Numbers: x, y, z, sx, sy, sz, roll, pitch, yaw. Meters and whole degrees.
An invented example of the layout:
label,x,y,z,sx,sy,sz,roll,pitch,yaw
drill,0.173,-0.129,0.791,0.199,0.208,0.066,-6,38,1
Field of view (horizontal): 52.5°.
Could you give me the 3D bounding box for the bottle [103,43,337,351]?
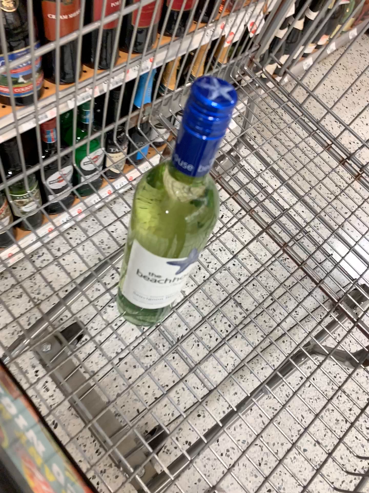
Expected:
label,x,y,z,sx,sy,sz,roll,pitch,yaw
bottle,-0.009,-0.002,0.359,0.090,0.338,0.090,7,60,-12
